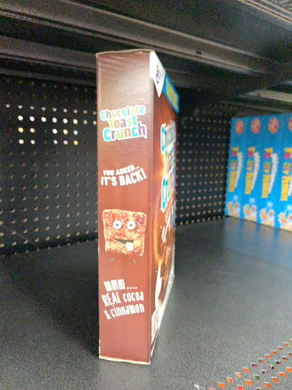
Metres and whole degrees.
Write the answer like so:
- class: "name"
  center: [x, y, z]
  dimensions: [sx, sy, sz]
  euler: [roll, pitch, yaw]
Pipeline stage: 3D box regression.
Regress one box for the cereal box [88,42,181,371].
- class: "cereal box"
  center: [-0.002, 0.003, 0.414]
  dimensions: [0.070, 0.319, 0.240]
  euler: [3, 9, 10]
